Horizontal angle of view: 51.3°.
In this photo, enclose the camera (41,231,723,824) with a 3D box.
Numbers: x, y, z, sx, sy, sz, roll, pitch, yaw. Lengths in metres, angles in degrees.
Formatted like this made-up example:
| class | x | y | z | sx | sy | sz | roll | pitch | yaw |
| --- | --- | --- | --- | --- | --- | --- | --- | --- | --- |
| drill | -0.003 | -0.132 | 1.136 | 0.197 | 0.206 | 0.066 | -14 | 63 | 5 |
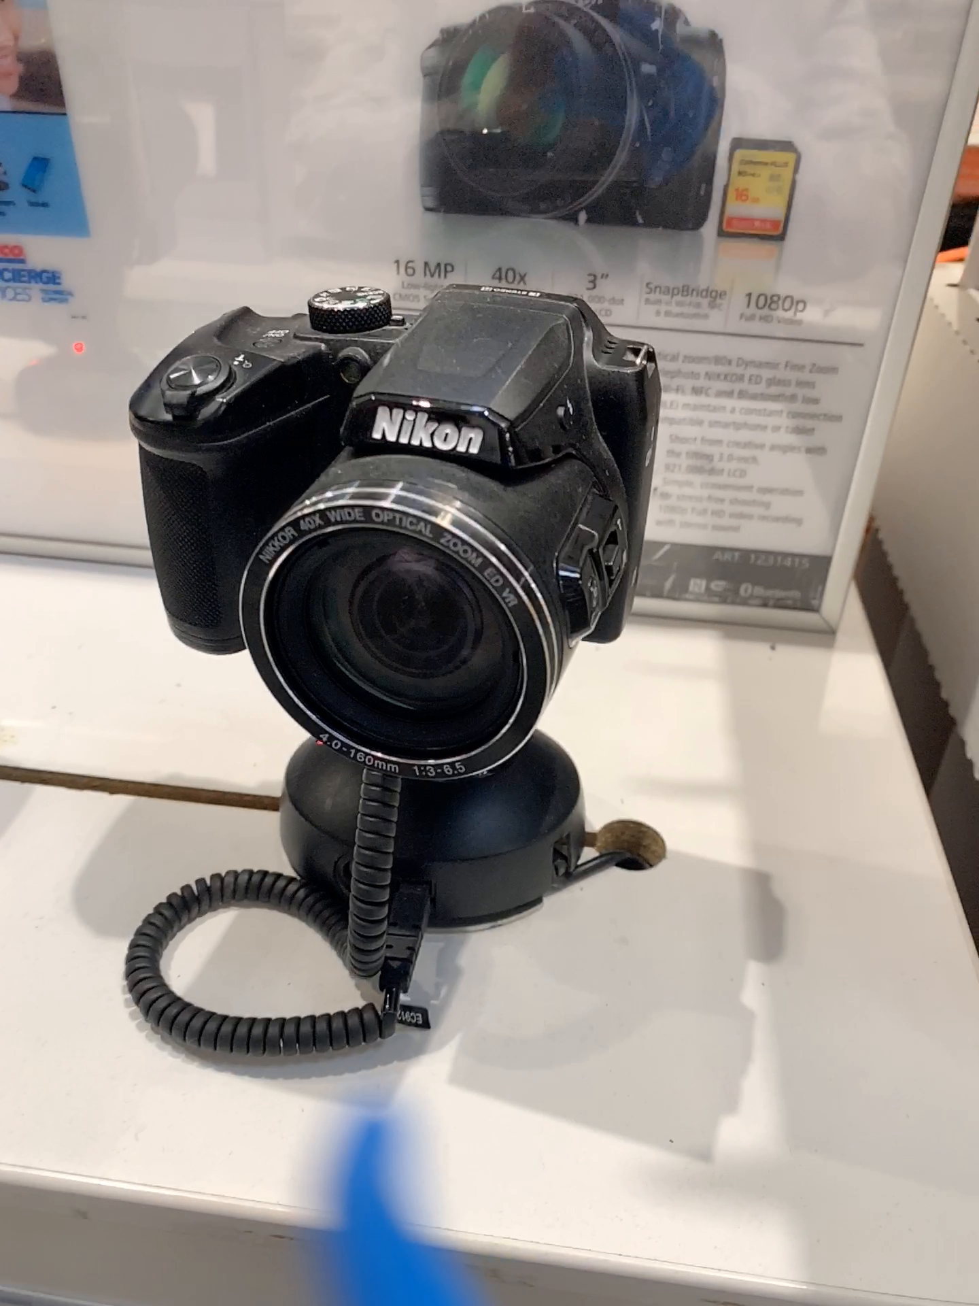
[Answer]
| class | x | y | z | sx | sy | sz | roll | pitch | yaw |
| --- | --- | --- | --- | --- | --- | --- | --- | --- | --- |
| camera | -0.016 | -0.028 | 0.210 | 0.110 | 0.089 | 0.060 | 9 | 34 | 9 |
